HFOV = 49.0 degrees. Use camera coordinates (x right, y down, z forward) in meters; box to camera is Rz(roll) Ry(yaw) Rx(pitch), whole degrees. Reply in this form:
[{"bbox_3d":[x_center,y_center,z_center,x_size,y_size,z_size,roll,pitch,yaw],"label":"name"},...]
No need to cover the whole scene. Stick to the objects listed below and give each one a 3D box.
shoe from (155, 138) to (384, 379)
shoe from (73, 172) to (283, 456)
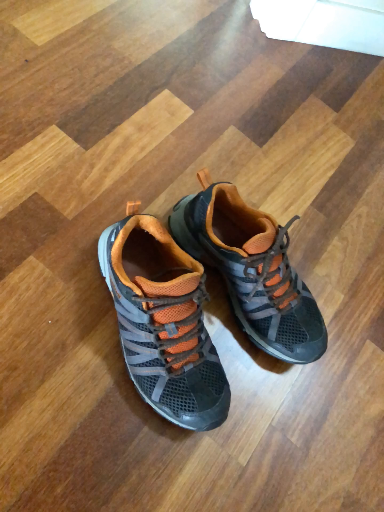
[{"bbox_3d":[0.092,0.004,0.559,0.119,0.117,0.279,-34,80,-27],"label":"shoe"},{"bbox_3d":[-0.033,0.063,0.489,0.113,0.117,0.282,-19,73,-23],"label":"shoe"}]
